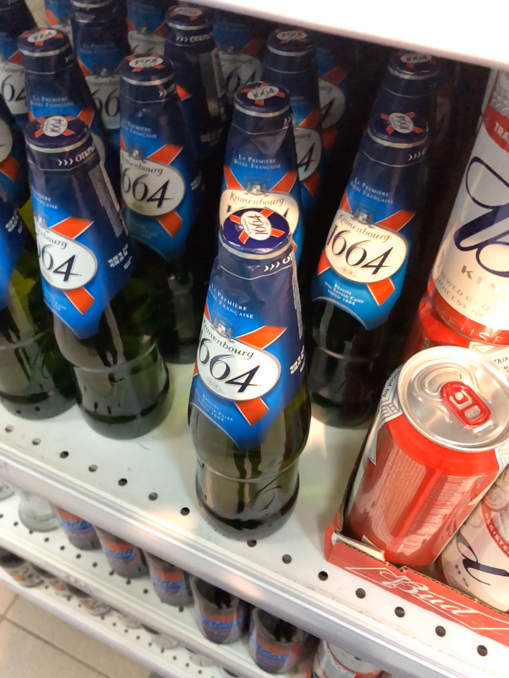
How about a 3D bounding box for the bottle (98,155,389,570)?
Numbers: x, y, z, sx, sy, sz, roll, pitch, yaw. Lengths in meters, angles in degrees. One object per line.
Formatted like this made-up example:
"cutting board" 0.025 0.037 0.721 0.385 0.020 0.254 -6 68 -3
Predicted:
"bottle" -0.006 0.030 0.303 0.080 0.219 0.080 0 50 0
